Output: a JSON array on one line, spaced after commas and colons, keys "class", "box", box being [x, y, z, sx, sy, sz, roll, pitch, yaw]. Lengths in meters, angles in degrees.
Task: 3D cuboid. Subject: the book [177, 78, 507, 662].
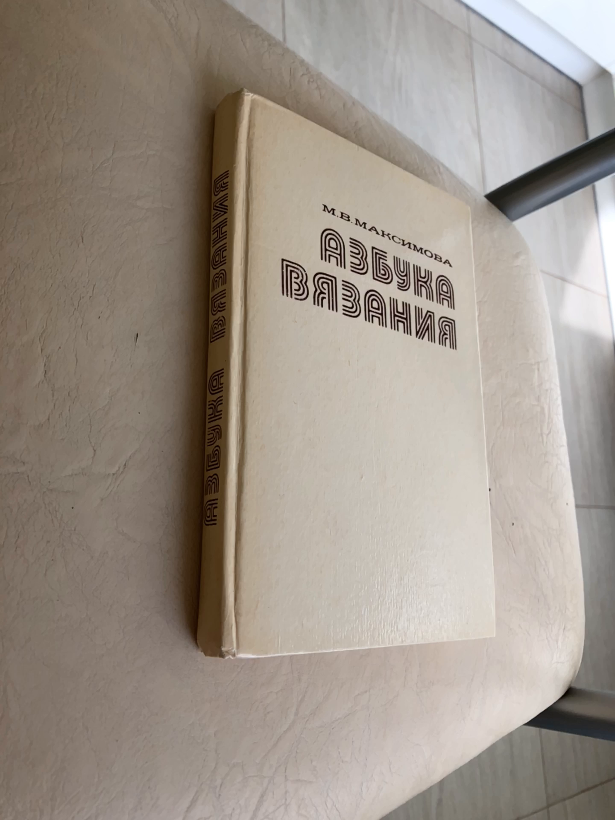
[{"class": "book", "box": [0.023, -0.012, 0.294, 0.149, 0.024, 0.218, 12, 71, -36]}]
